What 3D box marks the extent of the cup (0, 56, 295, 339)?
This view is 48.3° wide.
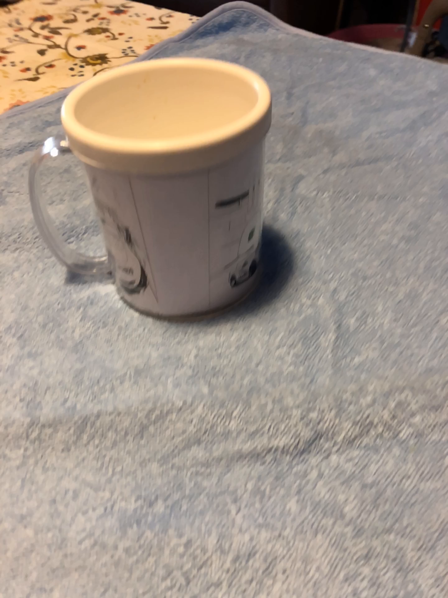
[{"bbox_3d":[-0.034,-0.050,0.250,0.120,0.099,0.091,-3,45,-1],"label":"cup"}]
